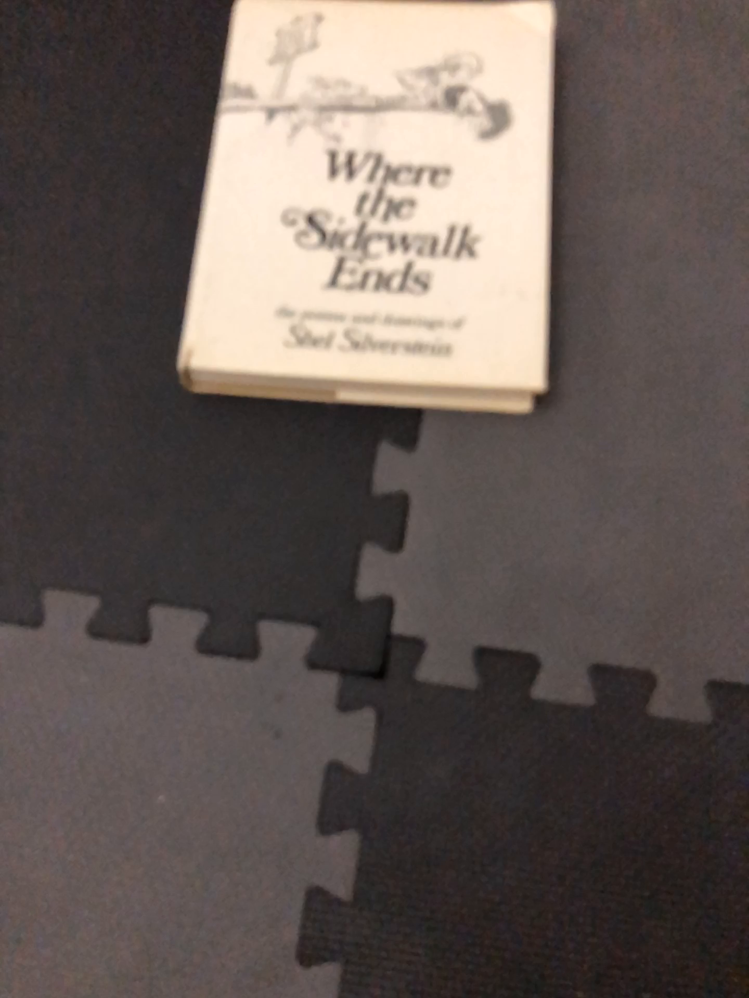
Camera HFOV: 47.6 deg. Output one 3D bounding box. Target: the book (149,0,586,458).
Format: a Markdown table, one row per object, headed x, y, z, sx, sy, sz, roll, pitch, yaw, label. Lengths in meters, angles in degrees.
| x | y | z | sx | sy | sz | roll | pitch | yaw | label |
| --- | --- | --- | --- | --- | --- | --- | --- | --- | --- |
| 0.006 | -0.166 | 0.453 | 0.200 | 0.030 | 0.281 | 5 | 73 | 4 | book |
